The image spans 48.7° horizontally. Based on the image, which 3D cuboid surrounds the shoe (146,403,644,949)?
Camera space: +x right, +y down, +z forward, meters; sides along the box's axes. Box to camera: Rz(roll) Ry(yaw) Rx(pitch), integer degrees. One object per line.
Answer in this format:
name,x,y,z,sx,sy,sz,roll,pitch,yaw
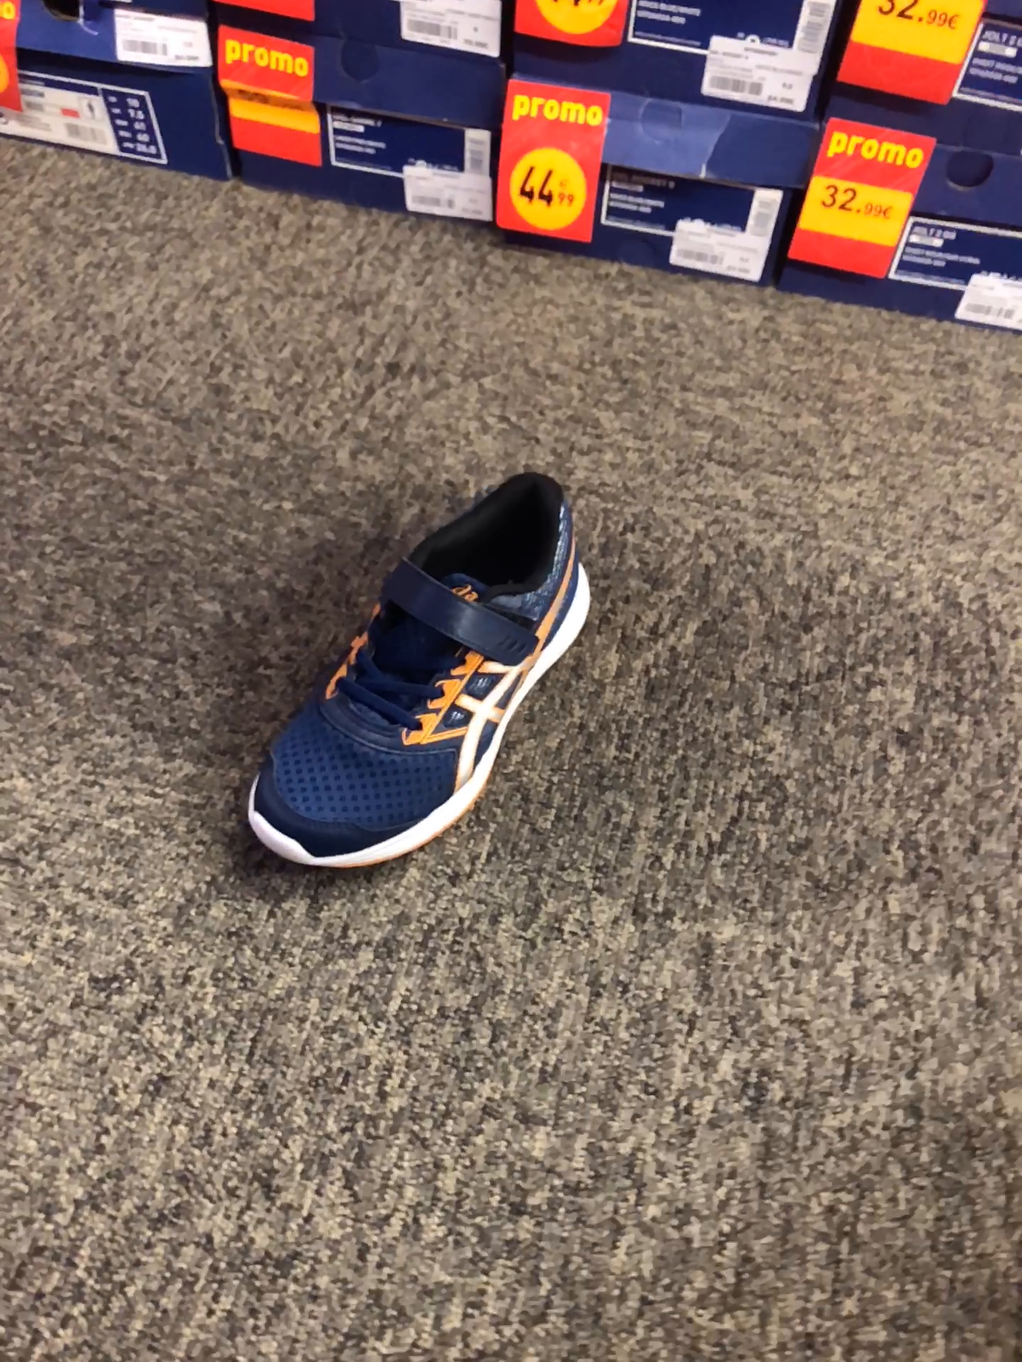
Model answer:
shoe,-0.042,-0.011,0.527,0.090,0.099,0.236,30,57,17
